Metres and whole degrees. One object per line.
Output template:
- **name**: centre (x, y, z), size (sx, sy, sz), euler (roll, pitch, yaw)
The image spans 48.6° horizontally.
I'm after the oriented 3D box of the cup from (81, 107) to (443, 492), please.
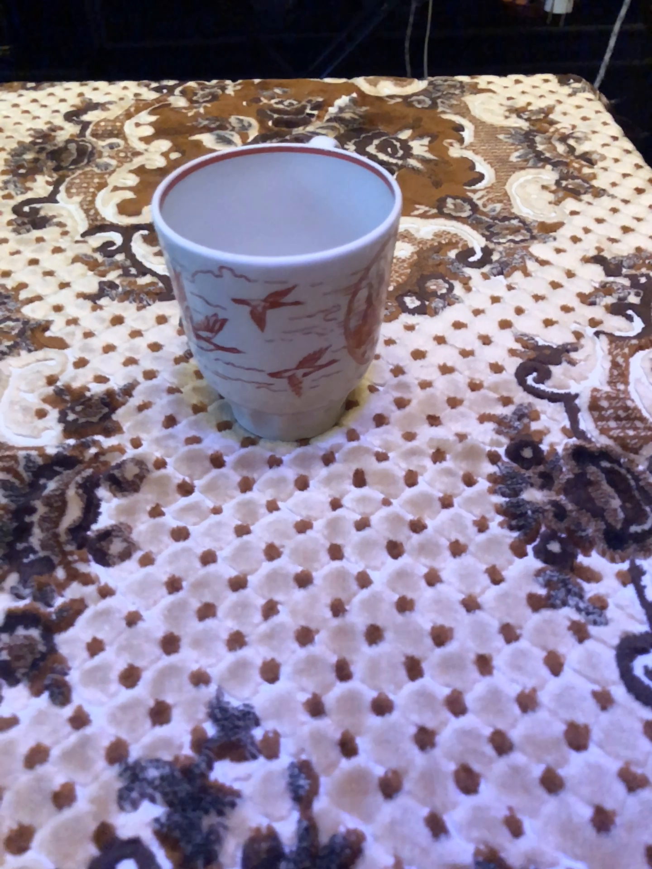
- **cup**: centre (-0.014, -0.062, 0.299), size (0.100, 0.090, 0.131), euler (9, 45, 11)
